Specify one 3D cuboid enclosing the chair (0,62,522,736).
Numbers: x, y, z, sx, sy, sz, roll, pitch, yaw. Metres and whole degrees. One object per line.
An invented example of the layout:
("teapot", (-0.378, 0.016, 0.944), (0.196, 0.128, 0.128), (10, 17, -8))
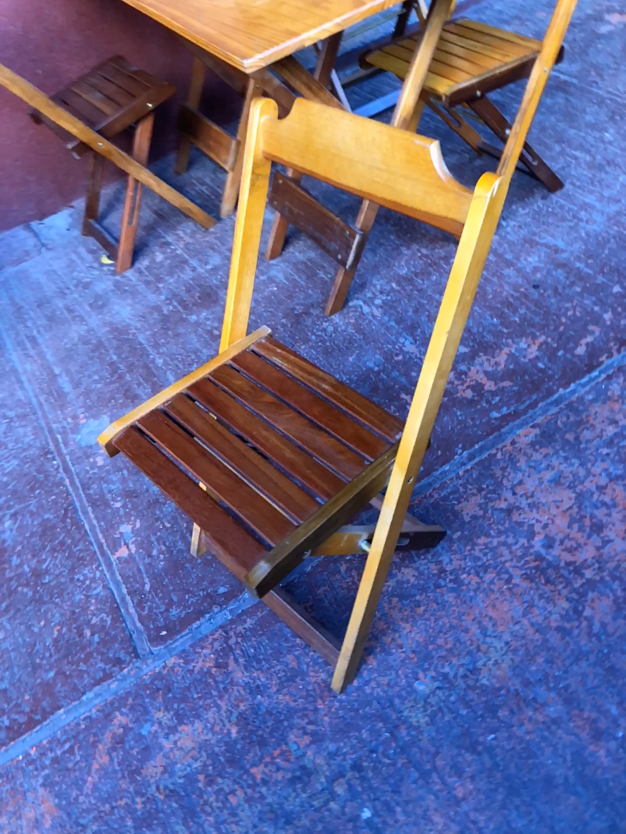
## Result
("chair", (-0.058, 0.006, 0.993), (0.471, 0.735, 0.452), (-40, 54, -21))
